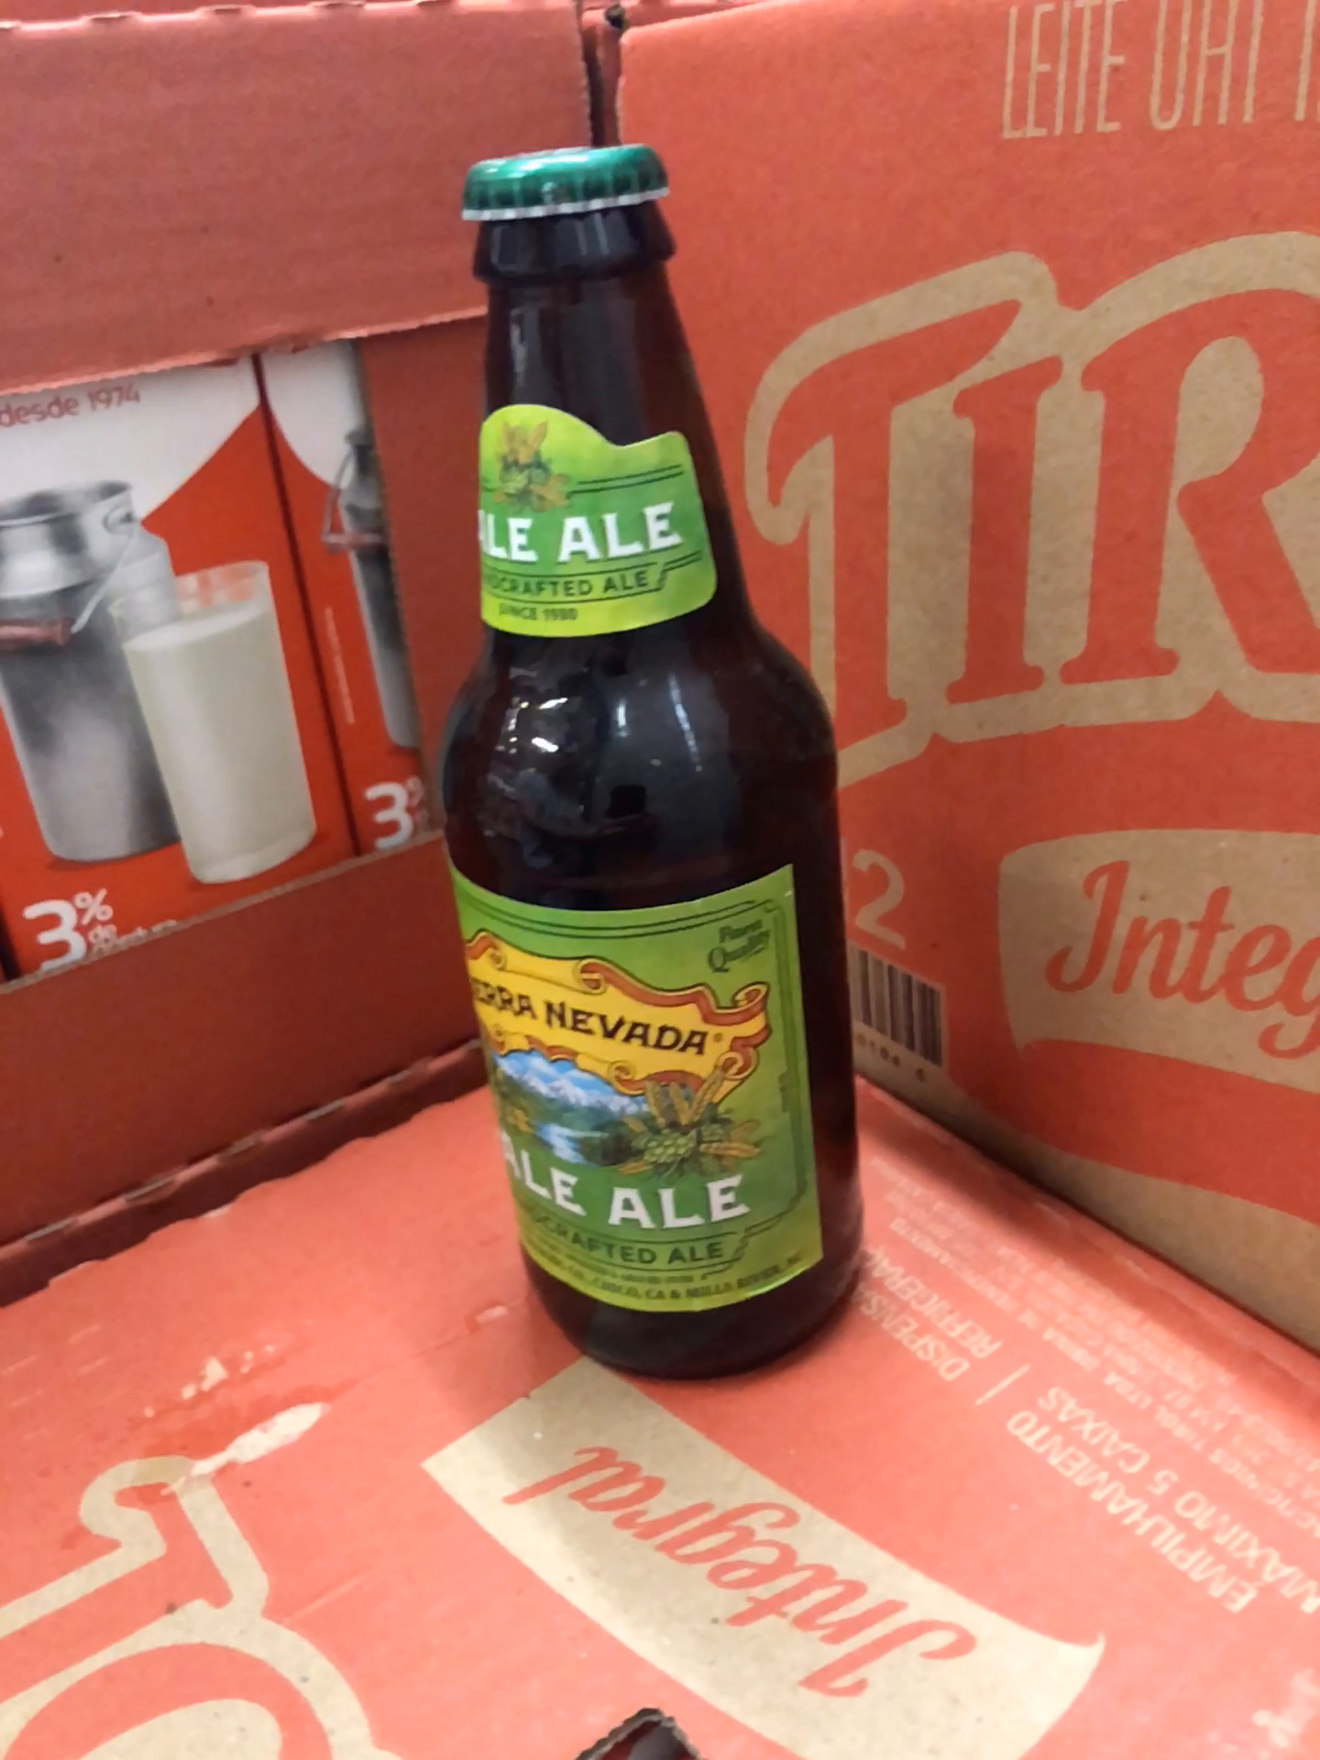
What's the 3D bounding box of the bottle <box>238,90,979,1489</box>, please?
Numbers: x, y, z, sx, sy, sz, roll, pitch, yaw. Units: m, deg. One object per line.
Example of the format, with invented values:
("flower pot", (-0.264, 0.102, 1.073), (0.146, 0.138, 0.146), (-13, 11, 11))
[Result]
("bottle", (0.000, -0.011, 0.226), (0.070, 0.189, 0.060), (17, 34, 36))
